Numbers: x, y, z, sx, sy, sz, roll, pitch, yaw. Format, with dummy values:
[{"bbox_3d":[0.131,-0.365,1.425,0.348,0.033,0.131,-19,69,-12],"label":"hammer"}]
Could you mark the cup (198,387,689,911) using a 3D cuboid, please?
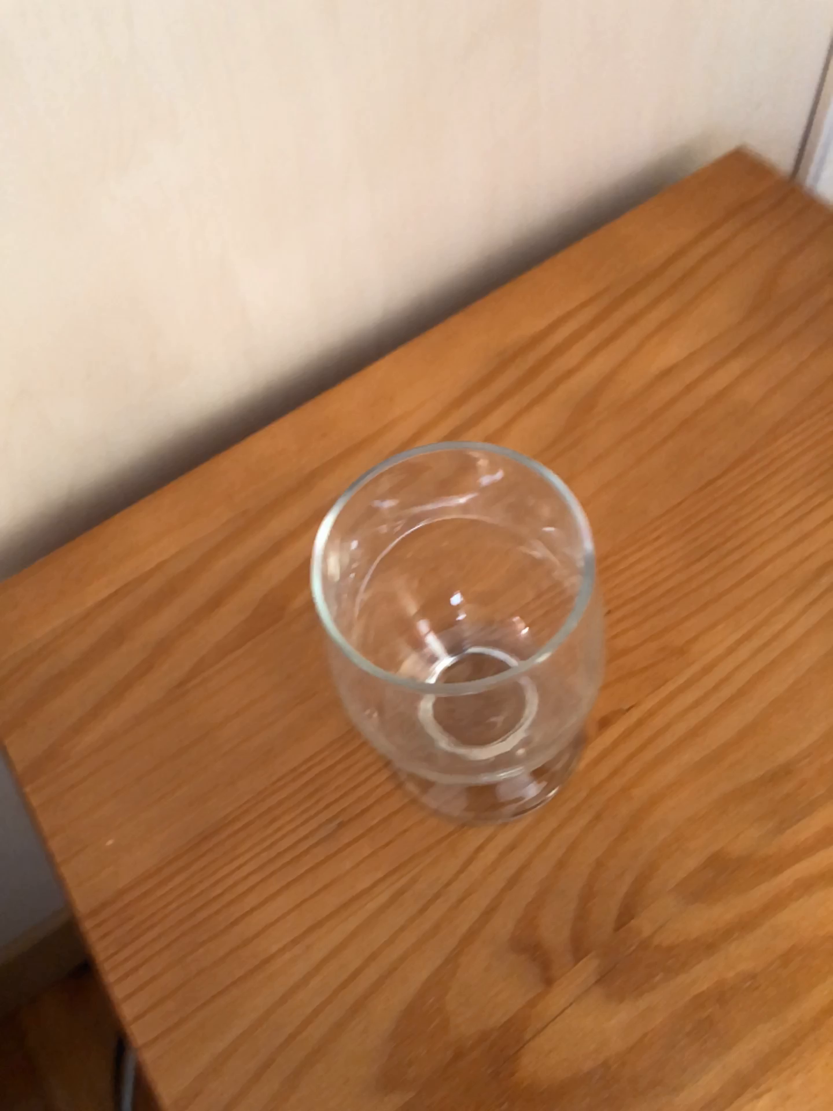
[{"bbox_3d":[0.012,0.030,0.254,0.082,0.107,0.078,-3,60,5],"label":"cup"}]
